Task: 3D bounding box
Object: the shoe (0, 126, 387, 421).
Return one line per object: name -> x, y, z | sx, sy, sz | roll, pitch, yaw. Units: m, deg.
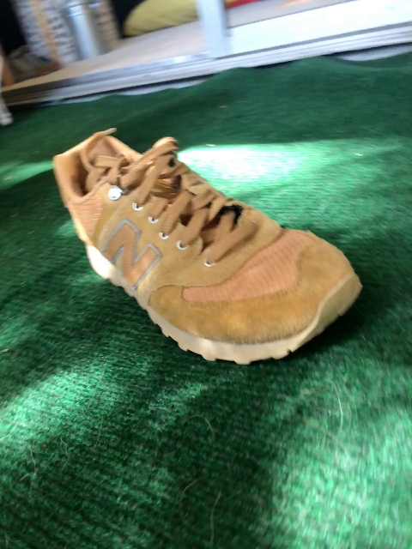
shoe -> -0.027, -0.031, 0.311 | 0.111, 0.099, 0.260 | -35, 37, -30
